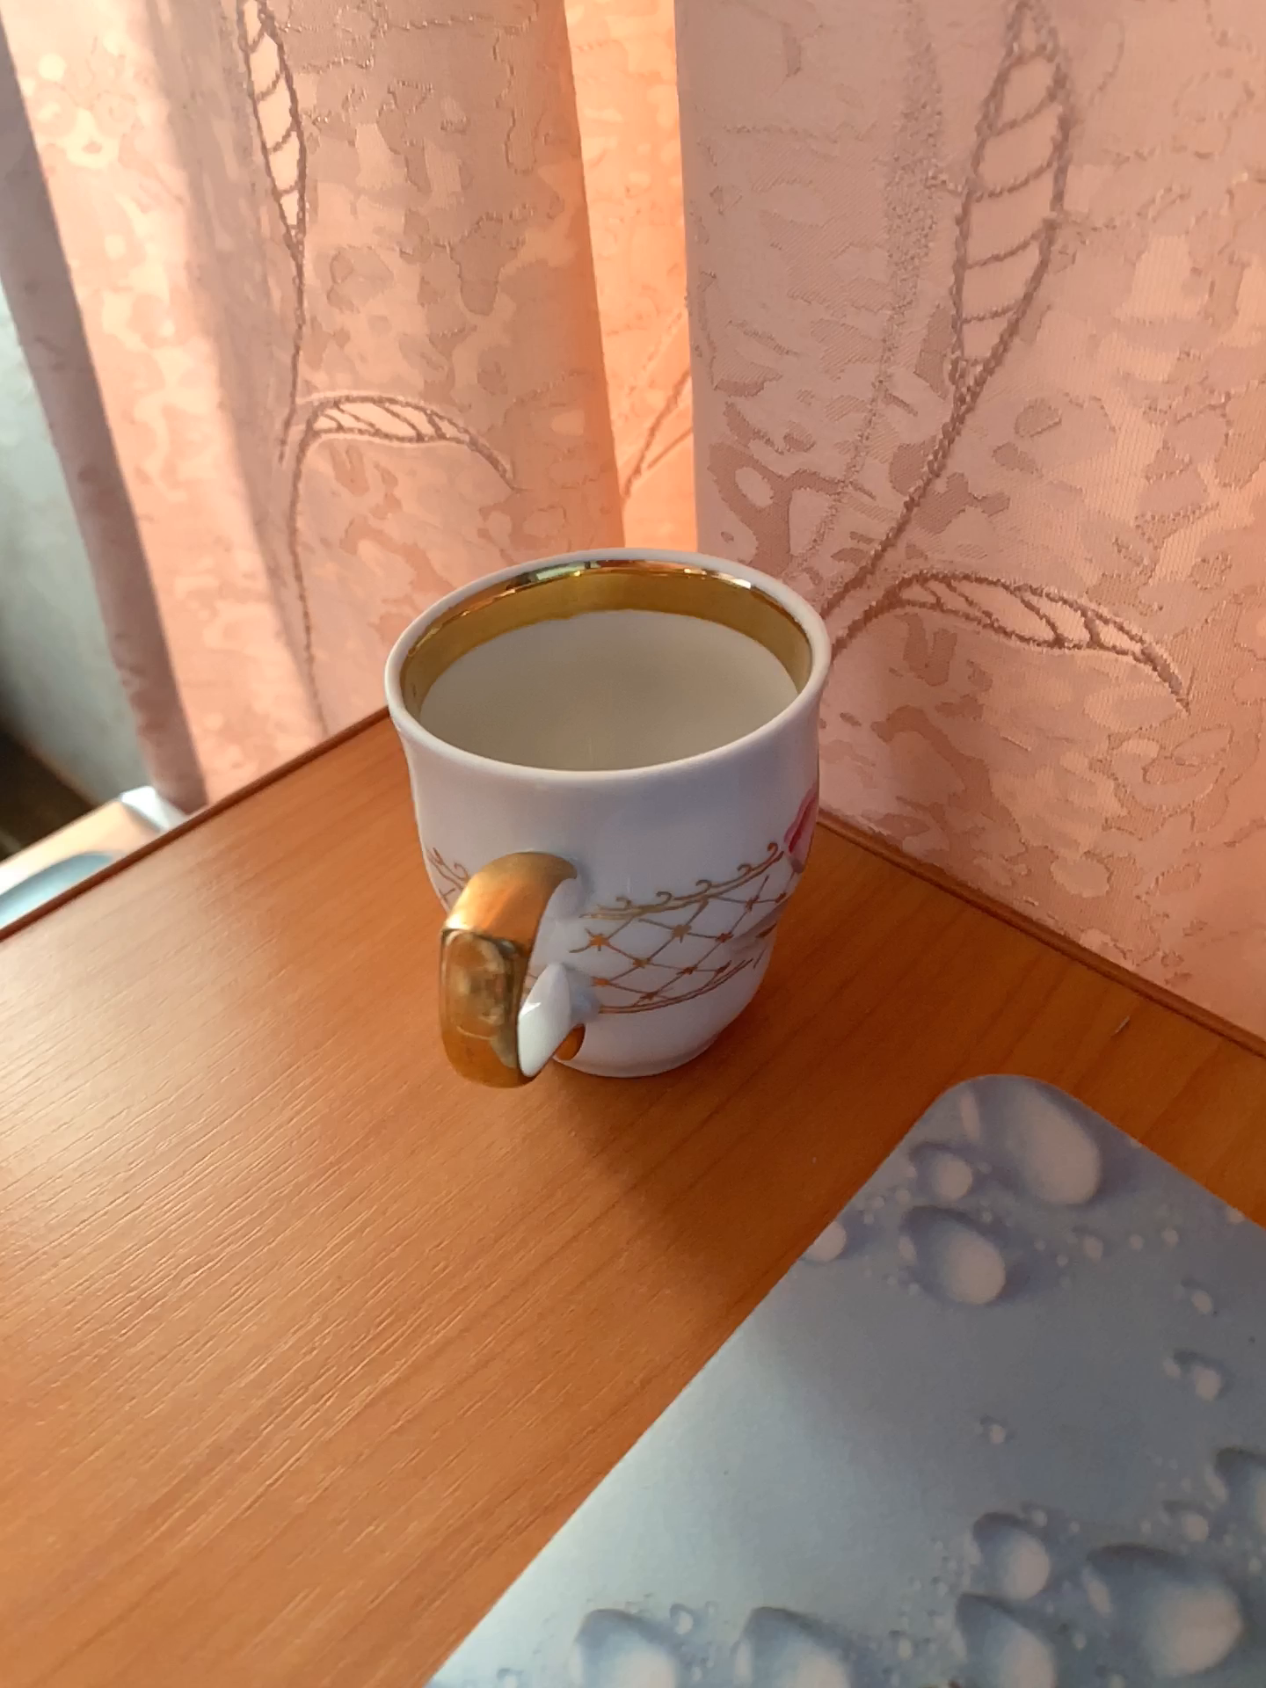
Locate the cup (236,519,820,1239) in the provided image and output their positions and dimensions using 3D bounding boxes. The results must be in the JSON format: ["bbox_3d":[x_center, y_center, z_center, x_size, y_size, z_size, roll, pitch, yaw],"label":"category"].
[{"bbox_3d":[-0.006,0.000,0.183,0.059,0.055,0.083,3,40,7],"label":"cup"}]
